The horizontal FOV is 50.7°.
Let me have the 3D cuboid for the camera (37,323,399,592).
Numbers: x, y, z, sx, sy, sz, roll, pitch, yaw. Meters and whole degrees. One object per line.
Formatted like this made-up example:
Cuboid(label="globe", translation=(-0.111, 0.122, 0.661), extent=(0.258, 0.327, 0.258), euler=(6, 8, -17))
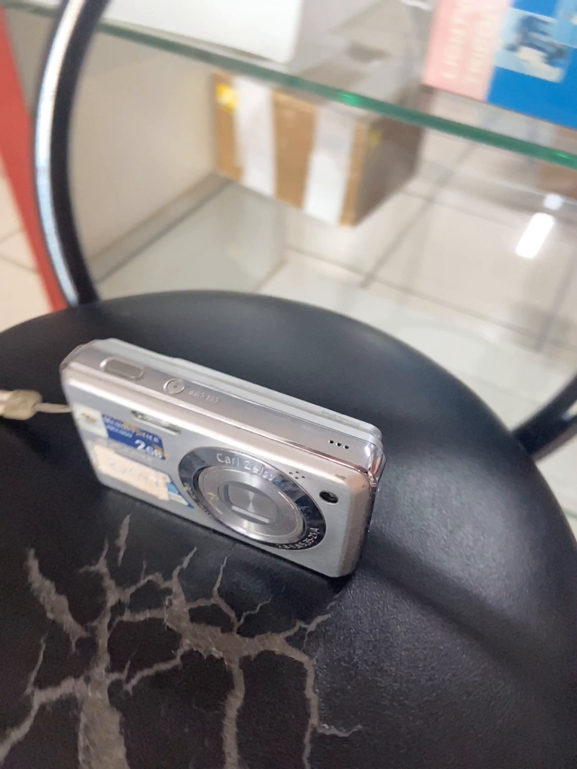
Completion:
Cuboid(label="camera", translation=(-0.020, 0.020, 0.176), extent=(0.093, 0.044, 0.026), euler=(19, 48, 14))
